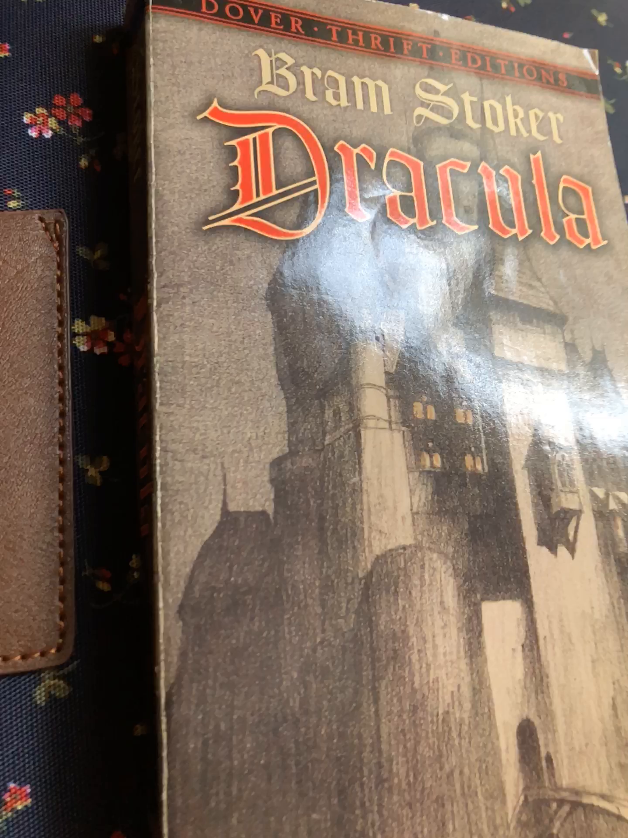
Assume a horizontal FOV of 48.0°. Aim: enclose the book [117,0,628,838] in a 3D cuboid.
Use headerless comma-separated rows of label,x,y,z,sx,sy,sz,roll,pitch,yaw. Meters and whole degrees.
book,0.023,-0.003,0.170,0.130,0.033,0.202,0,75,-20
